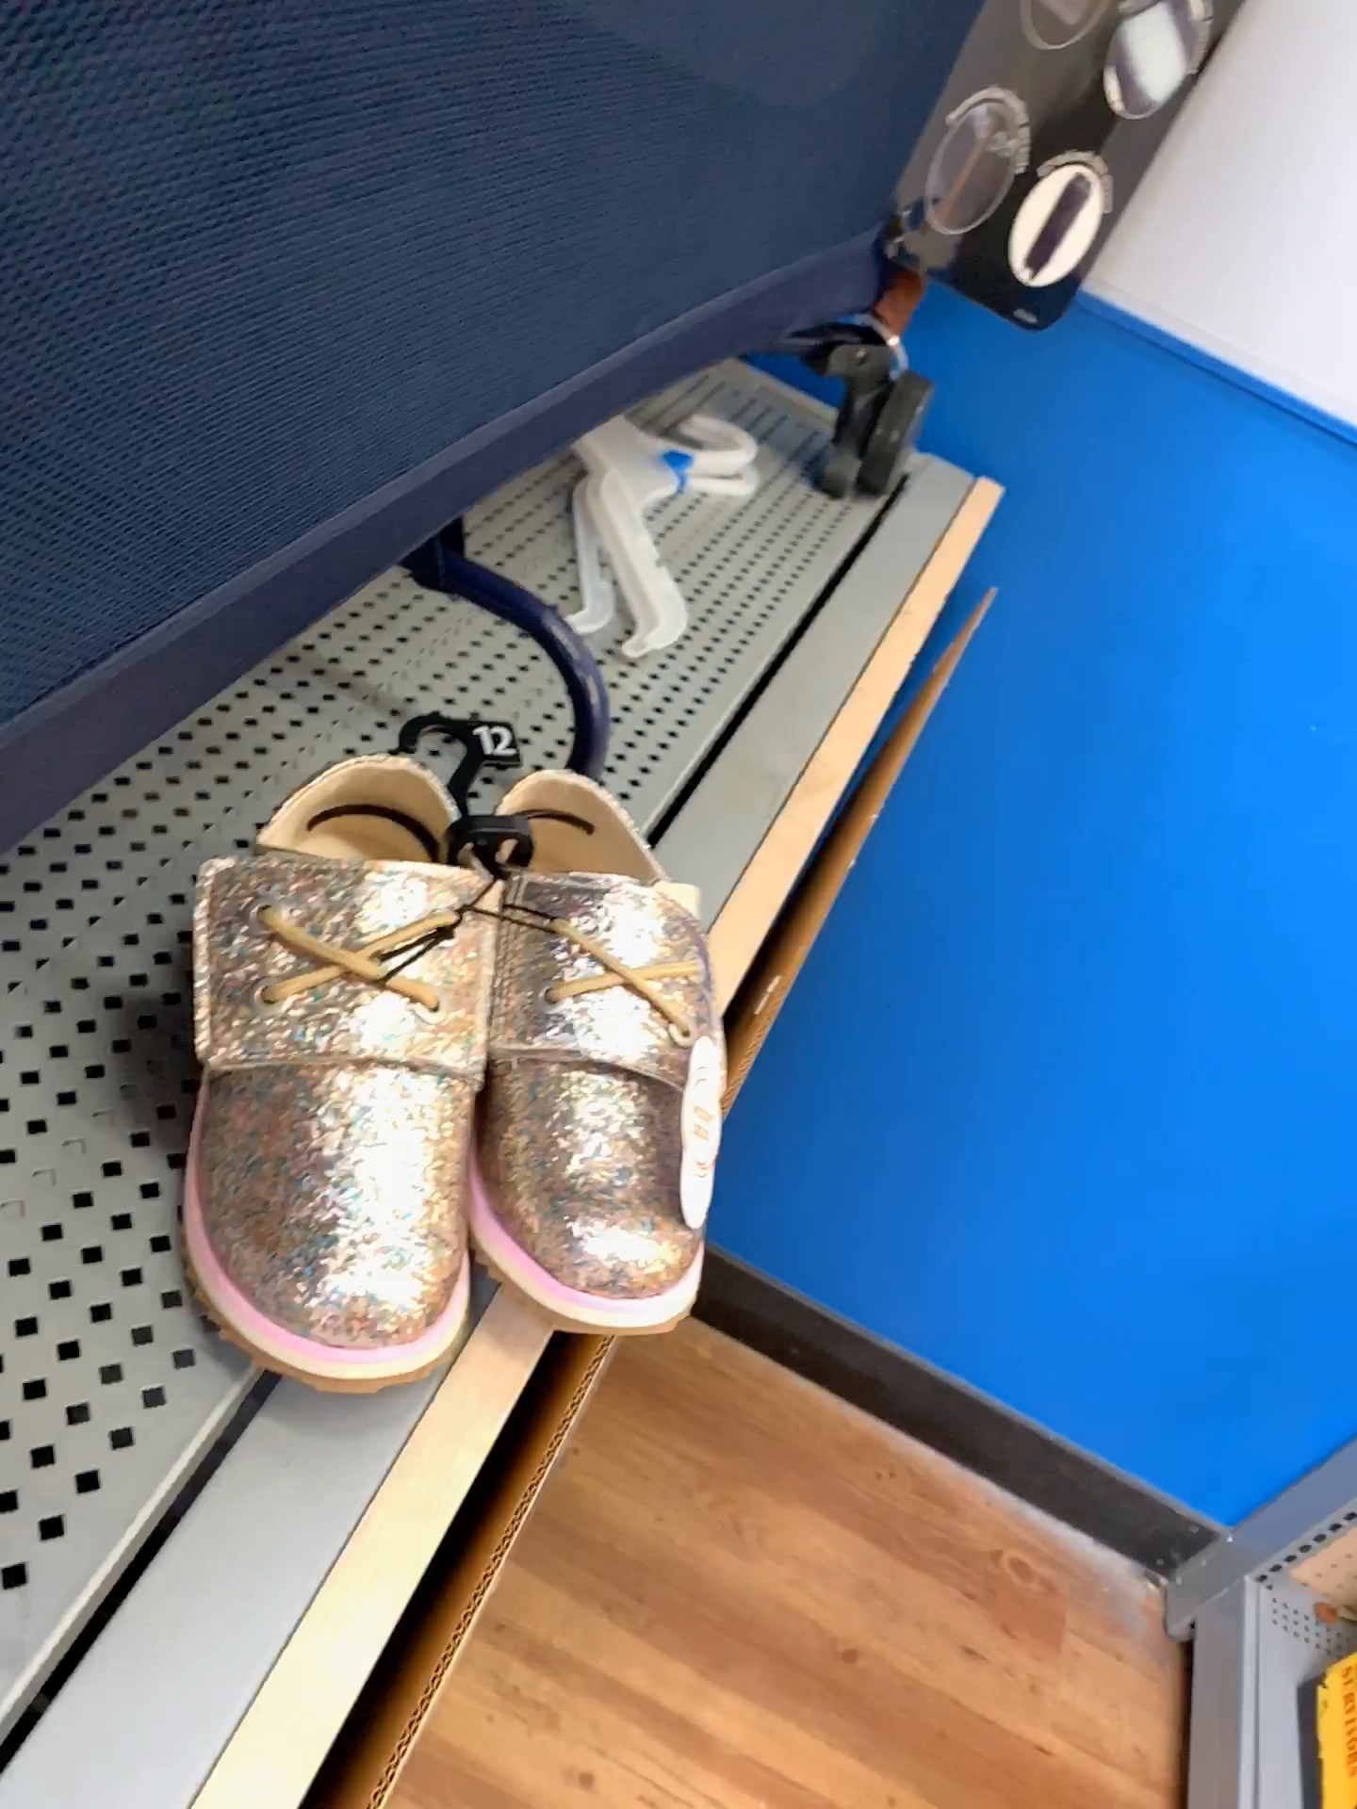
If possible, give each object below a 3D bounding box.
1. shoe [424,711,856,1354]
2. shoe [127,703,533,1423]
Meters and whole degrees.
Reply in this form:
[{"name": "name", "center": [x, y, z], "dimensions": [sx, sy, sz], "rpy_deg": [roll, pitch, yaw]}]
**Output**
[{"name": "shoe", "center": [-0.023, 0.032, 0.445], "dimensions": [0.086, 0.060, 0.206], "rpy_deg": [7, 43, -23]}, {"name": "shoe", "center": [-0.098, 0.037, 0.404], "dimensions": [0.083, 0.070, 0.199], "rpy_deg": [9, 42, -19]}]
